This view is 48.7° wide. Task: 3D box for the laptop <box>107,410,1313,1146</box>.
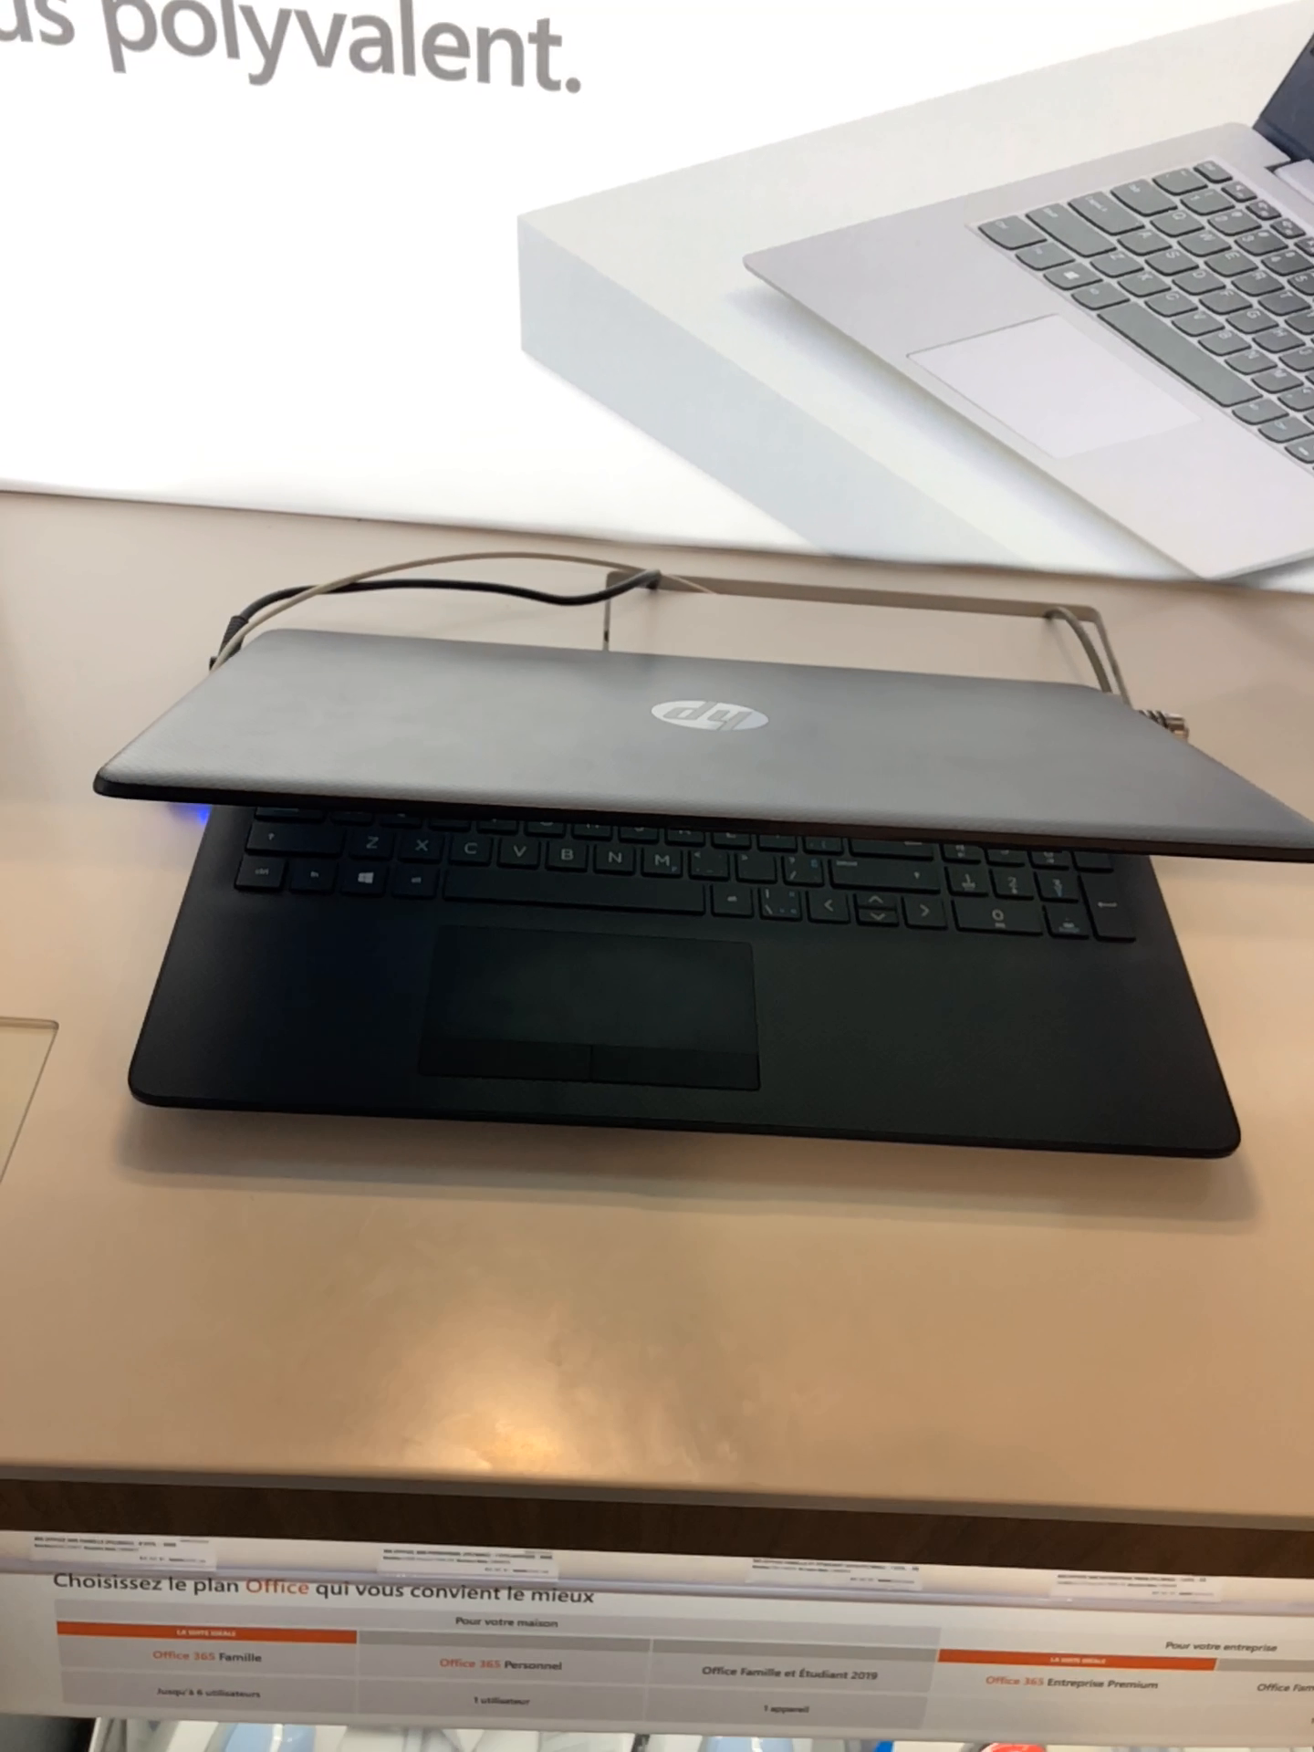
[{"bbox_3d":[0.024,-0.045,0.519,0.351,0.107,0.239,4,45,-3],"label":"laptop"}]
